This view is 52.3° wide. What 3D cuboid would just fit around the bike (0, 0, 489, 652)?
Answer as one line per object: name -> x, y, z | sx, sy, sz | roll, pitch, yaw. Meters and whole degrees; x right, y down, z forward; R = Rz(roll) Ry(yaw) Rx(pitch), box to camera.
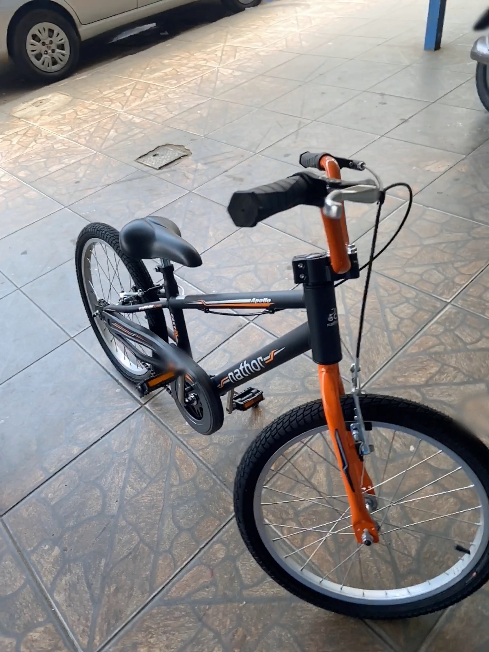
bike -> -0.028, -0.092, 1.144 | 1.353, 0.978, 0.725 | 27, 56, 32
